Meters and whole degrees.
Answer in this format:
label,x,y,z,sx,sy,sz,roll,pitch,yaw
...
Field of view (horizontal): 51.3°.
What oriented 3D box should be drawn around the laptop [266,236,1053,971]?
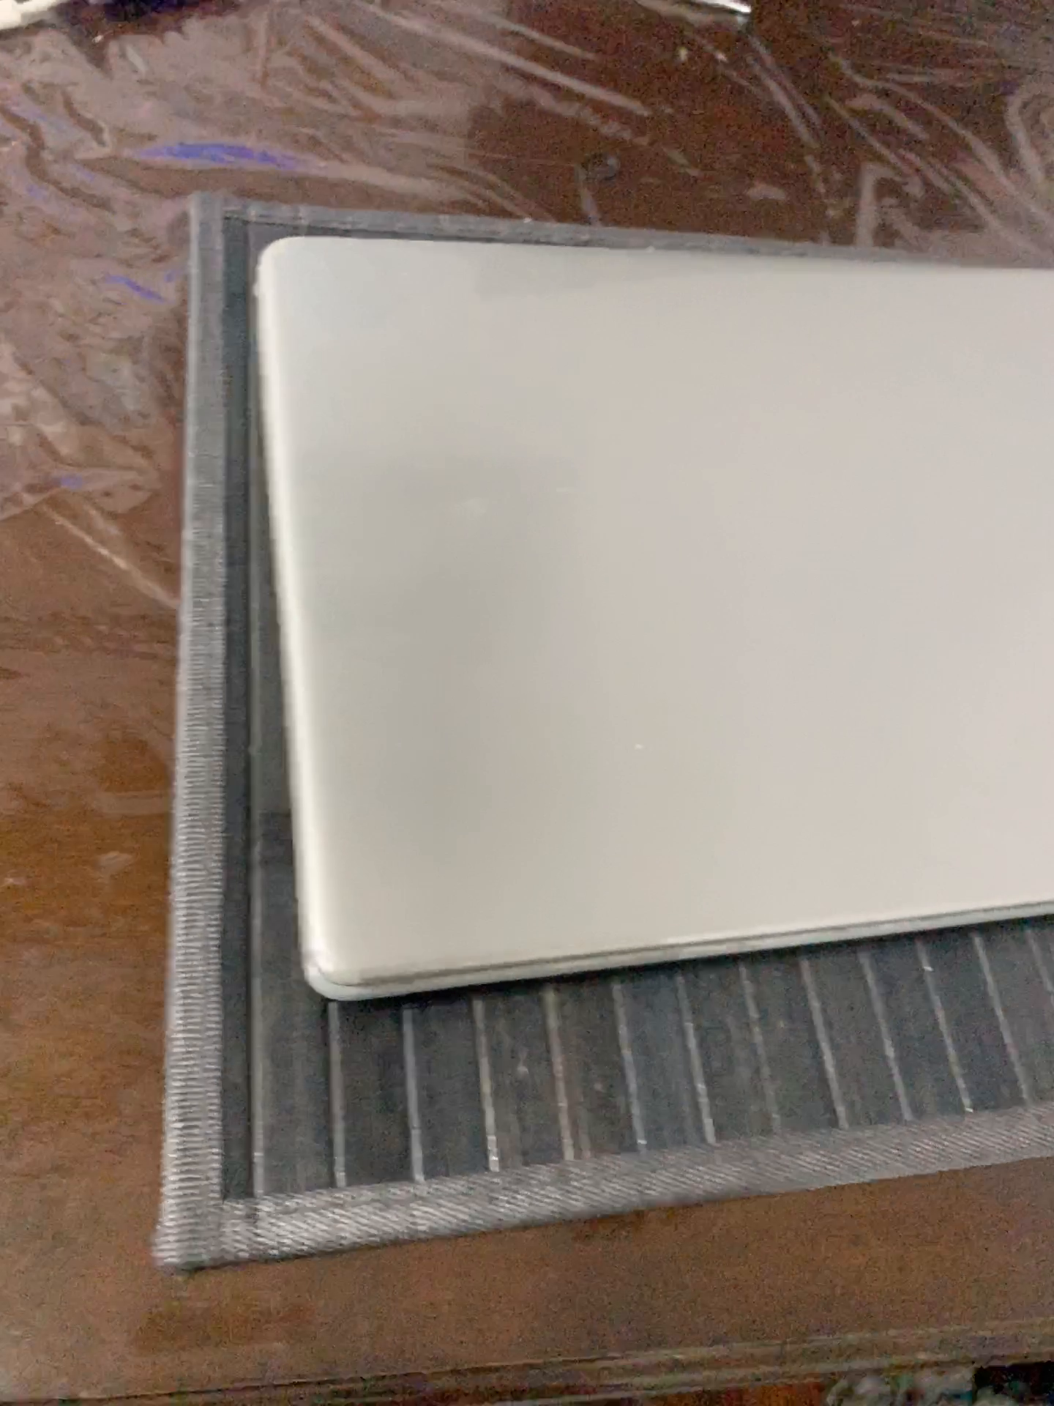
label,x,y,z,sx,sy,sz,roll,pitch,yaw
laptop,0.101,-0.050,0.327,0.336,0.002,0.223,-3,63,-15
